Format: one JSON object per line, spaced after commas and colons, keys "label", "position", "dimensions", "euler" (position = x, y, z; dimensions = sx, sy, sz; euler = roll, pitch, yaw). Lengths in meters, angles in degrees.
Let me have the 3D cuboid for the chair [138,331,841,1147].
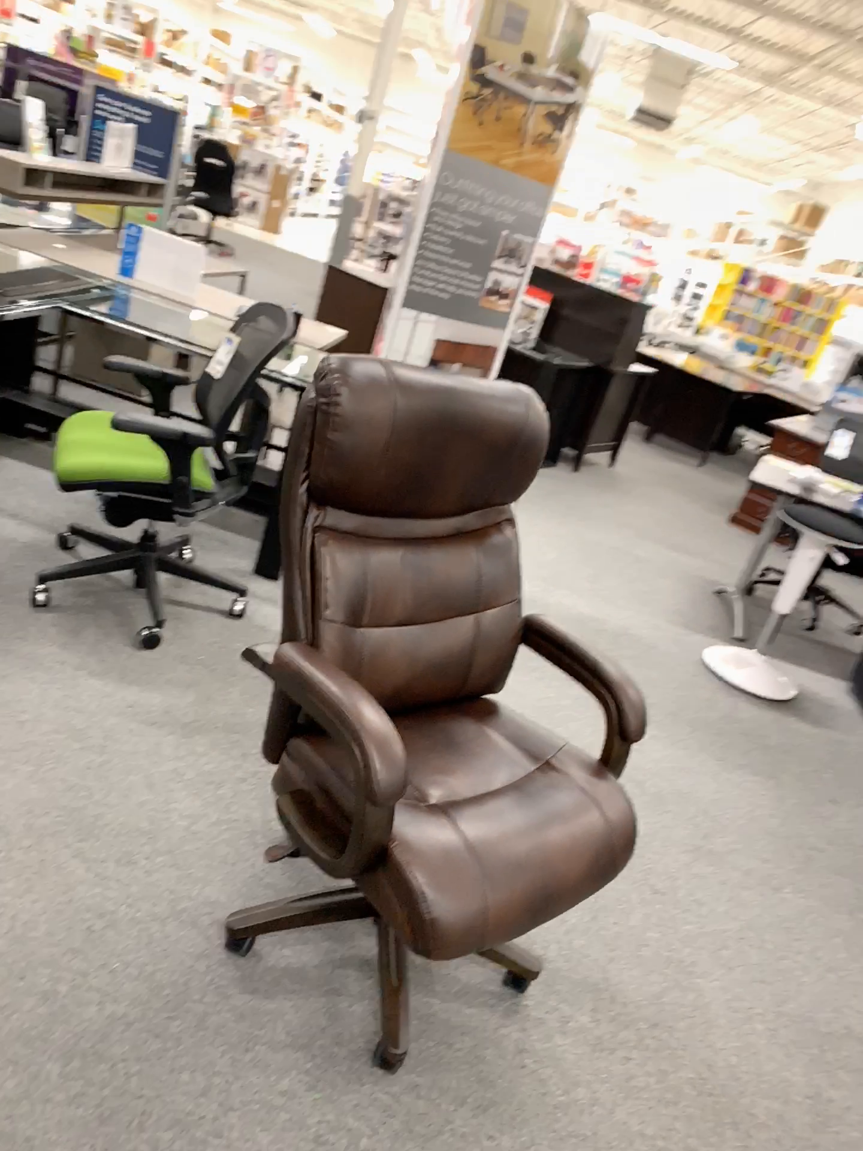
{"label": "chair", "position": [0.043, 0.236, 1.669], "dimensions": [0.751, 1.095, 0.702], "euler": [-3, 31, -43]}
